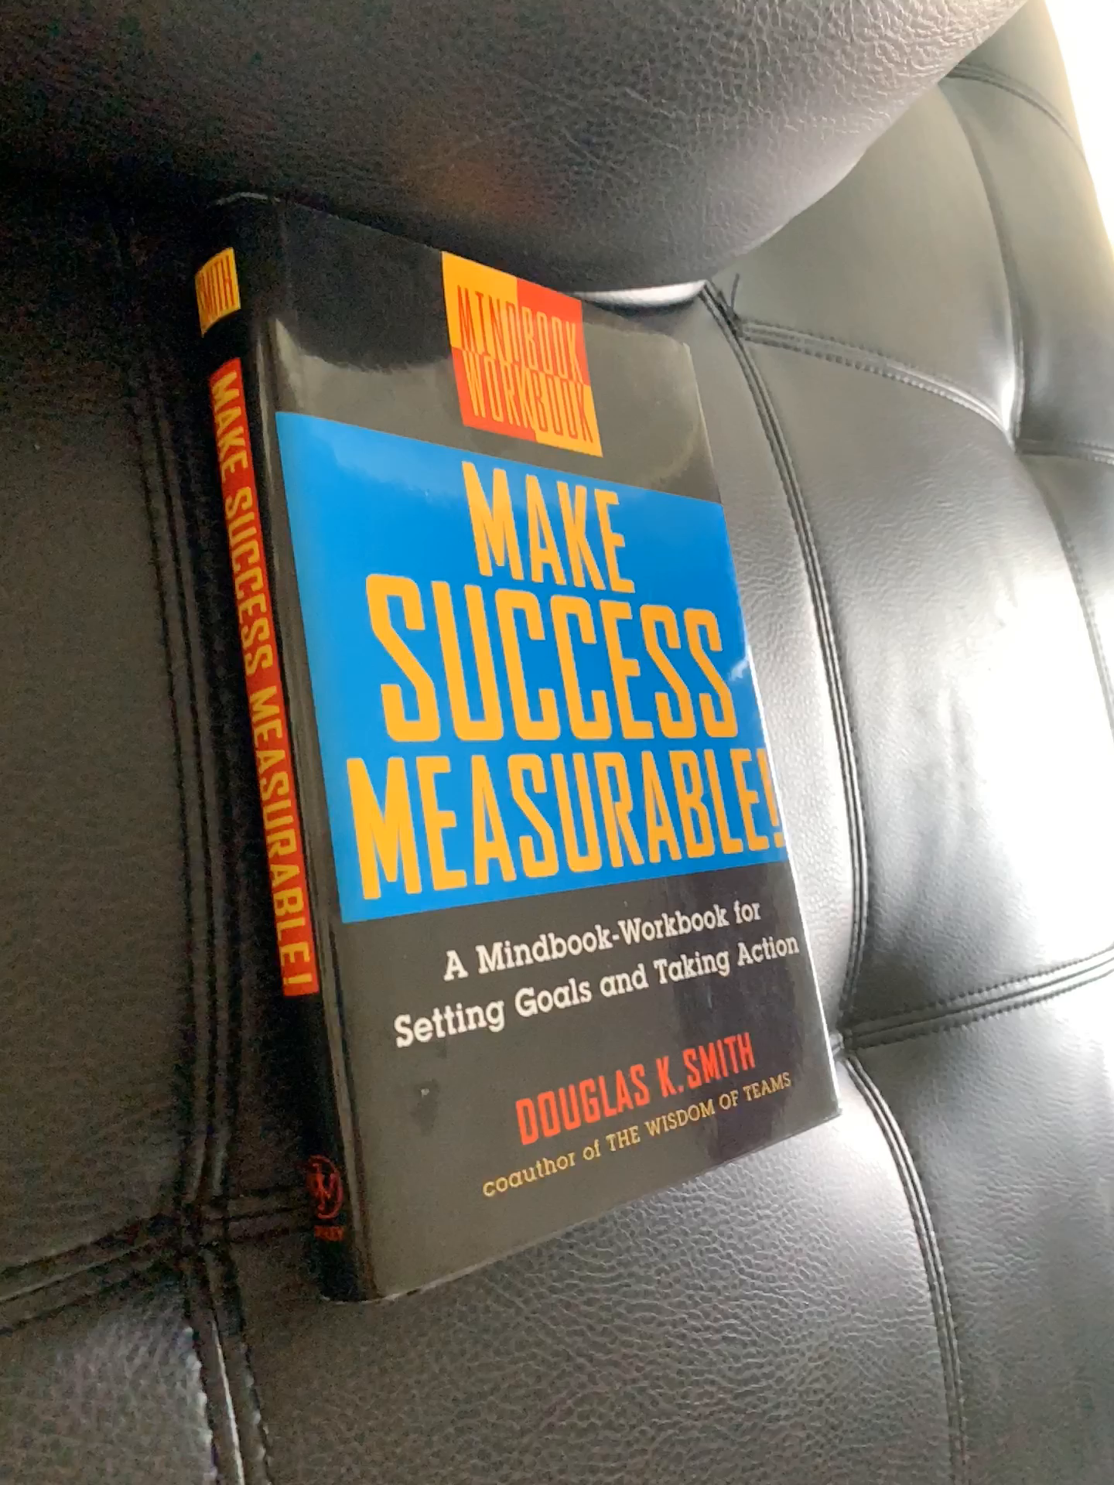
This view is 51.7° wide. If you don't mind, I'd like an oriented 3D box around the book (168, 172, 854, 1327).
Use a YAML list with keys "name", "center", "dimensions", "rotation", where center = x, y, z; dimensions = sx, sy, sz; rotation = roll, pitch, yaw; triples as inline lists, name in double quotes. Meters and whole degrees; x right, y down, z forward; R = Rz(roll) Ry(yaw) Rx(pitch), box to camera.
- name: "book"
  center: [-0.004, -0.006, 0.301]
  dimensions: [0.165, 0.030, 0.240]
  rotation: [-1, 78, -43]
